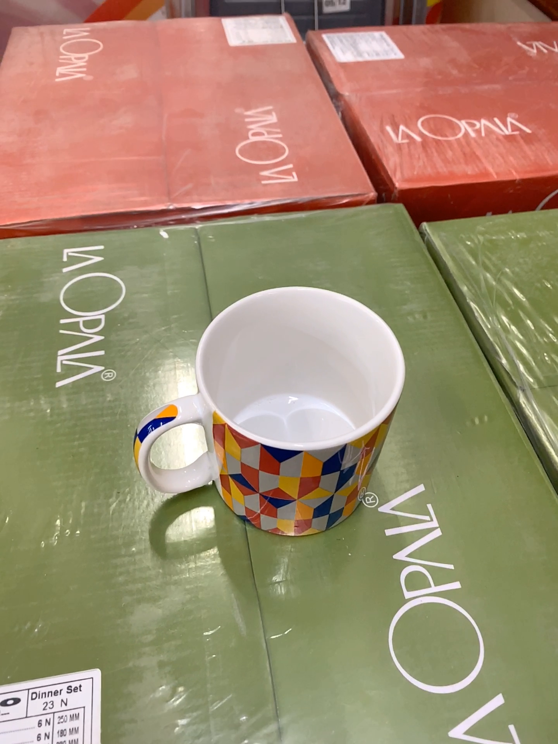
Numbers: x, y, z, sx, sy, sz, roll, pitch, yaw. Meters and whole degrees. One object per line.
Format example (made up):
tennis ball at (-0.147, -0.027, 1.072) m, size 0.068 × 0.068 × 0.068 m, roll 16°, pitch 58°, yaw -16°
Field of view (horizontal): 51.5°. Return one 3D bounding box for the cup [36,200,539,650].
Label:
cup at (-0.001, 0.017, 0.218) m, size 0.130 × 0.100 × 0.090 m, roll -19°, pitch 53°, yaw -18°
